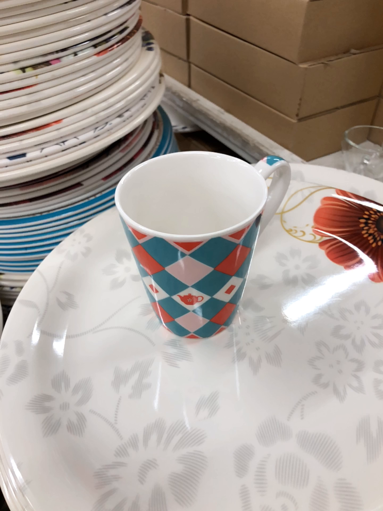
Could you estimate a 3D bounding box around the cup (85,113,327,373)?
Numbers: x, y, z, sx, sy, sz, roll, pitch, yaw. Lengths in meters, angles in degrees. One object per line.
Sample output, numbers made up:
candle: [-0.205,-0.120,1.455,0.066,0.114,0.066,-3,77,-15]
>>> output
cup: [0.014,-0.015,0.286,0.080,0.099,0.131,29,50,29]
